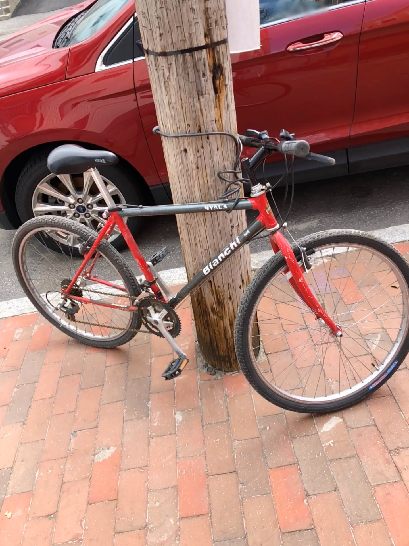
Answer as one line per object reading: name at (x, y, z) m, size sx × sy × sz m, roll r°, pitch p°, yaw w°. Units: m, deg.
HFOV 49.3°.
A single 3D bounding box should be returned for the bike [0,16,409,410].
bike at (-0.080, -0.142, 1.560) m, size 1.525 × 0.983 × 0.583 m, roll 2°, pitch 37°, yaw 19°
